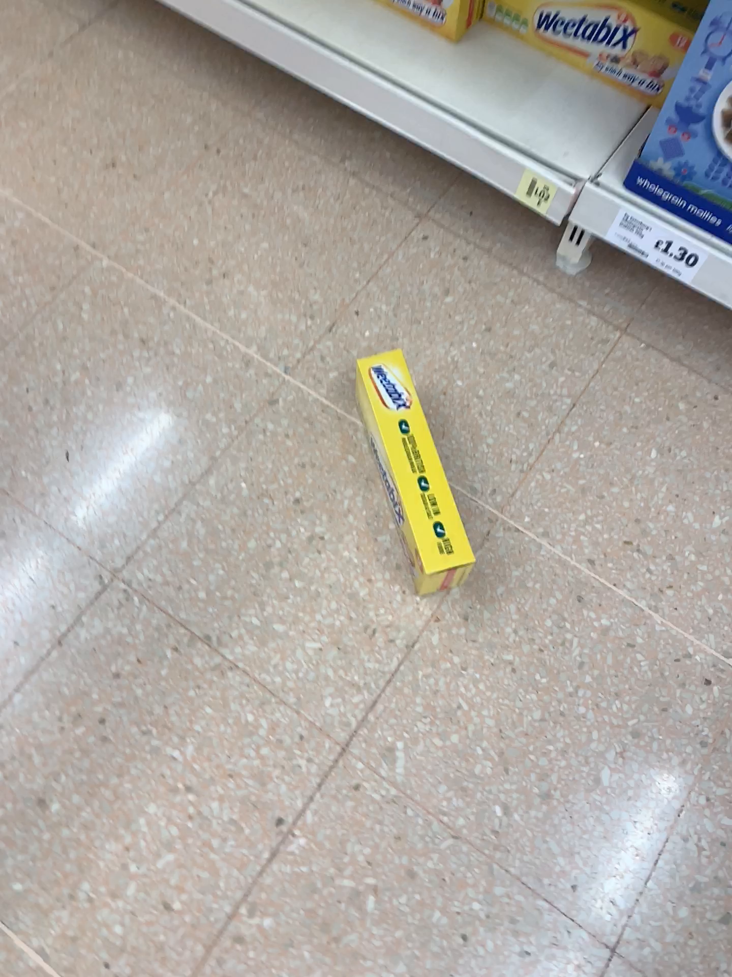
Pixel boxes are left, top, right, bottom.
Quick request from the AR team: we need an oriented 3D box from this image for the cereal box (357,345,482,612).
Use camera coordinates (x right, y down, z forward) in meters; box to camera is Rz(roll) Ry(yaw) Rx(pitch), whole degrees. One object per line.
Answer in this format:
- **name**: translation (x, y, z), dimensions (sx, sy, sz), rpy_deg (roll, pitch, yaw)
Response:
- **cereal box**: translation (0.049, -0.011, 0.788), dimensions (0.050, 0.100, 0.261), rpy_deg (-14, 69, -7)
